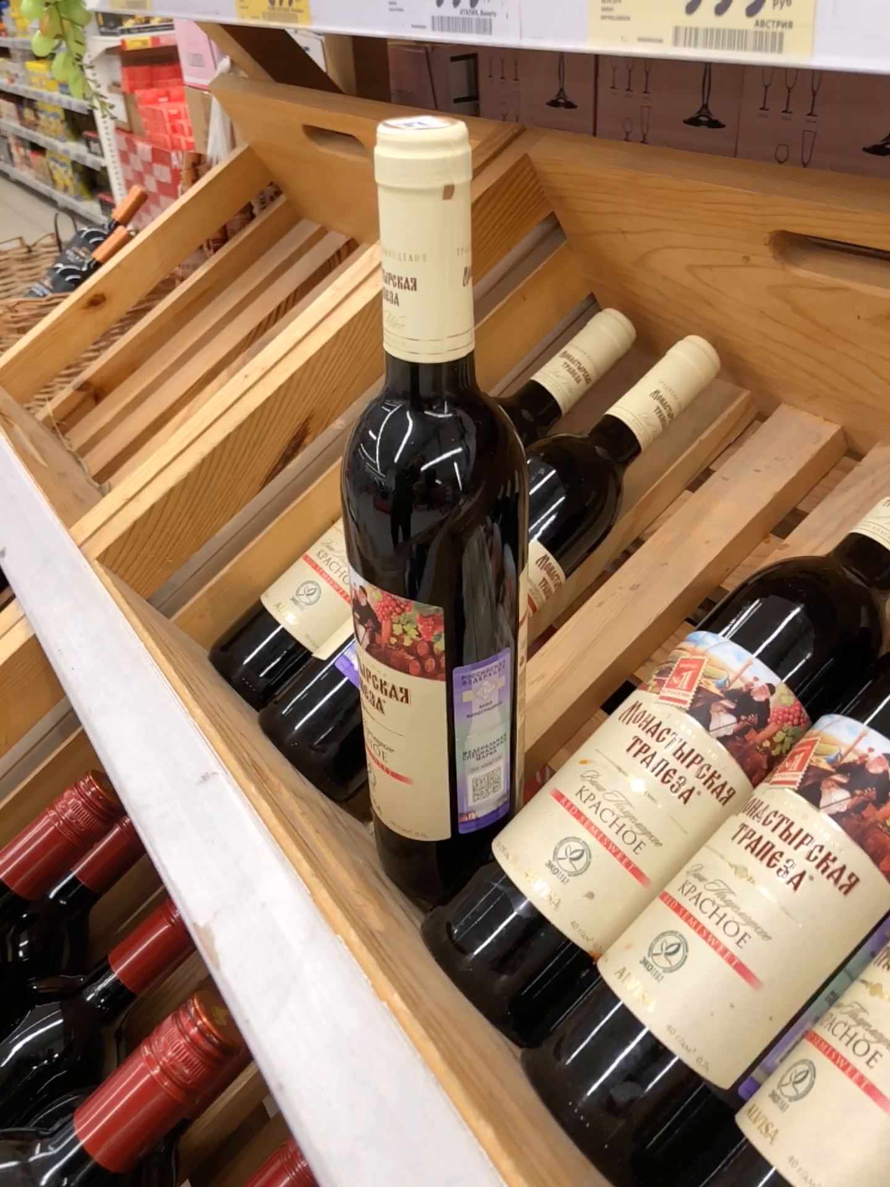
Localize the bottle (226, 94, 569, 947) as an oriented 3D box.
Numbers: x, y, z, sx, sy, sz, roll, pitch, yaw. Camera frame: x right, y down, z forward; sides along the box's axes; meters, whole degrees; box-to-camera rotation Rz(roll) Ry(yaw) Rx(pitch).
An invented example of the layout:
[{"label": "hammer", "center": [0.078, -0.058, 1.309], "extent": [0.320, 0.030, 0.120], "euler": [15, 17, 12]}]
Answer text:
[{"label": "bottle", "center": [-0.008, -0.011, 0.374], "extent": [0.080, 0.308, 0.080], "euler": [-3, 32, 2]}]
